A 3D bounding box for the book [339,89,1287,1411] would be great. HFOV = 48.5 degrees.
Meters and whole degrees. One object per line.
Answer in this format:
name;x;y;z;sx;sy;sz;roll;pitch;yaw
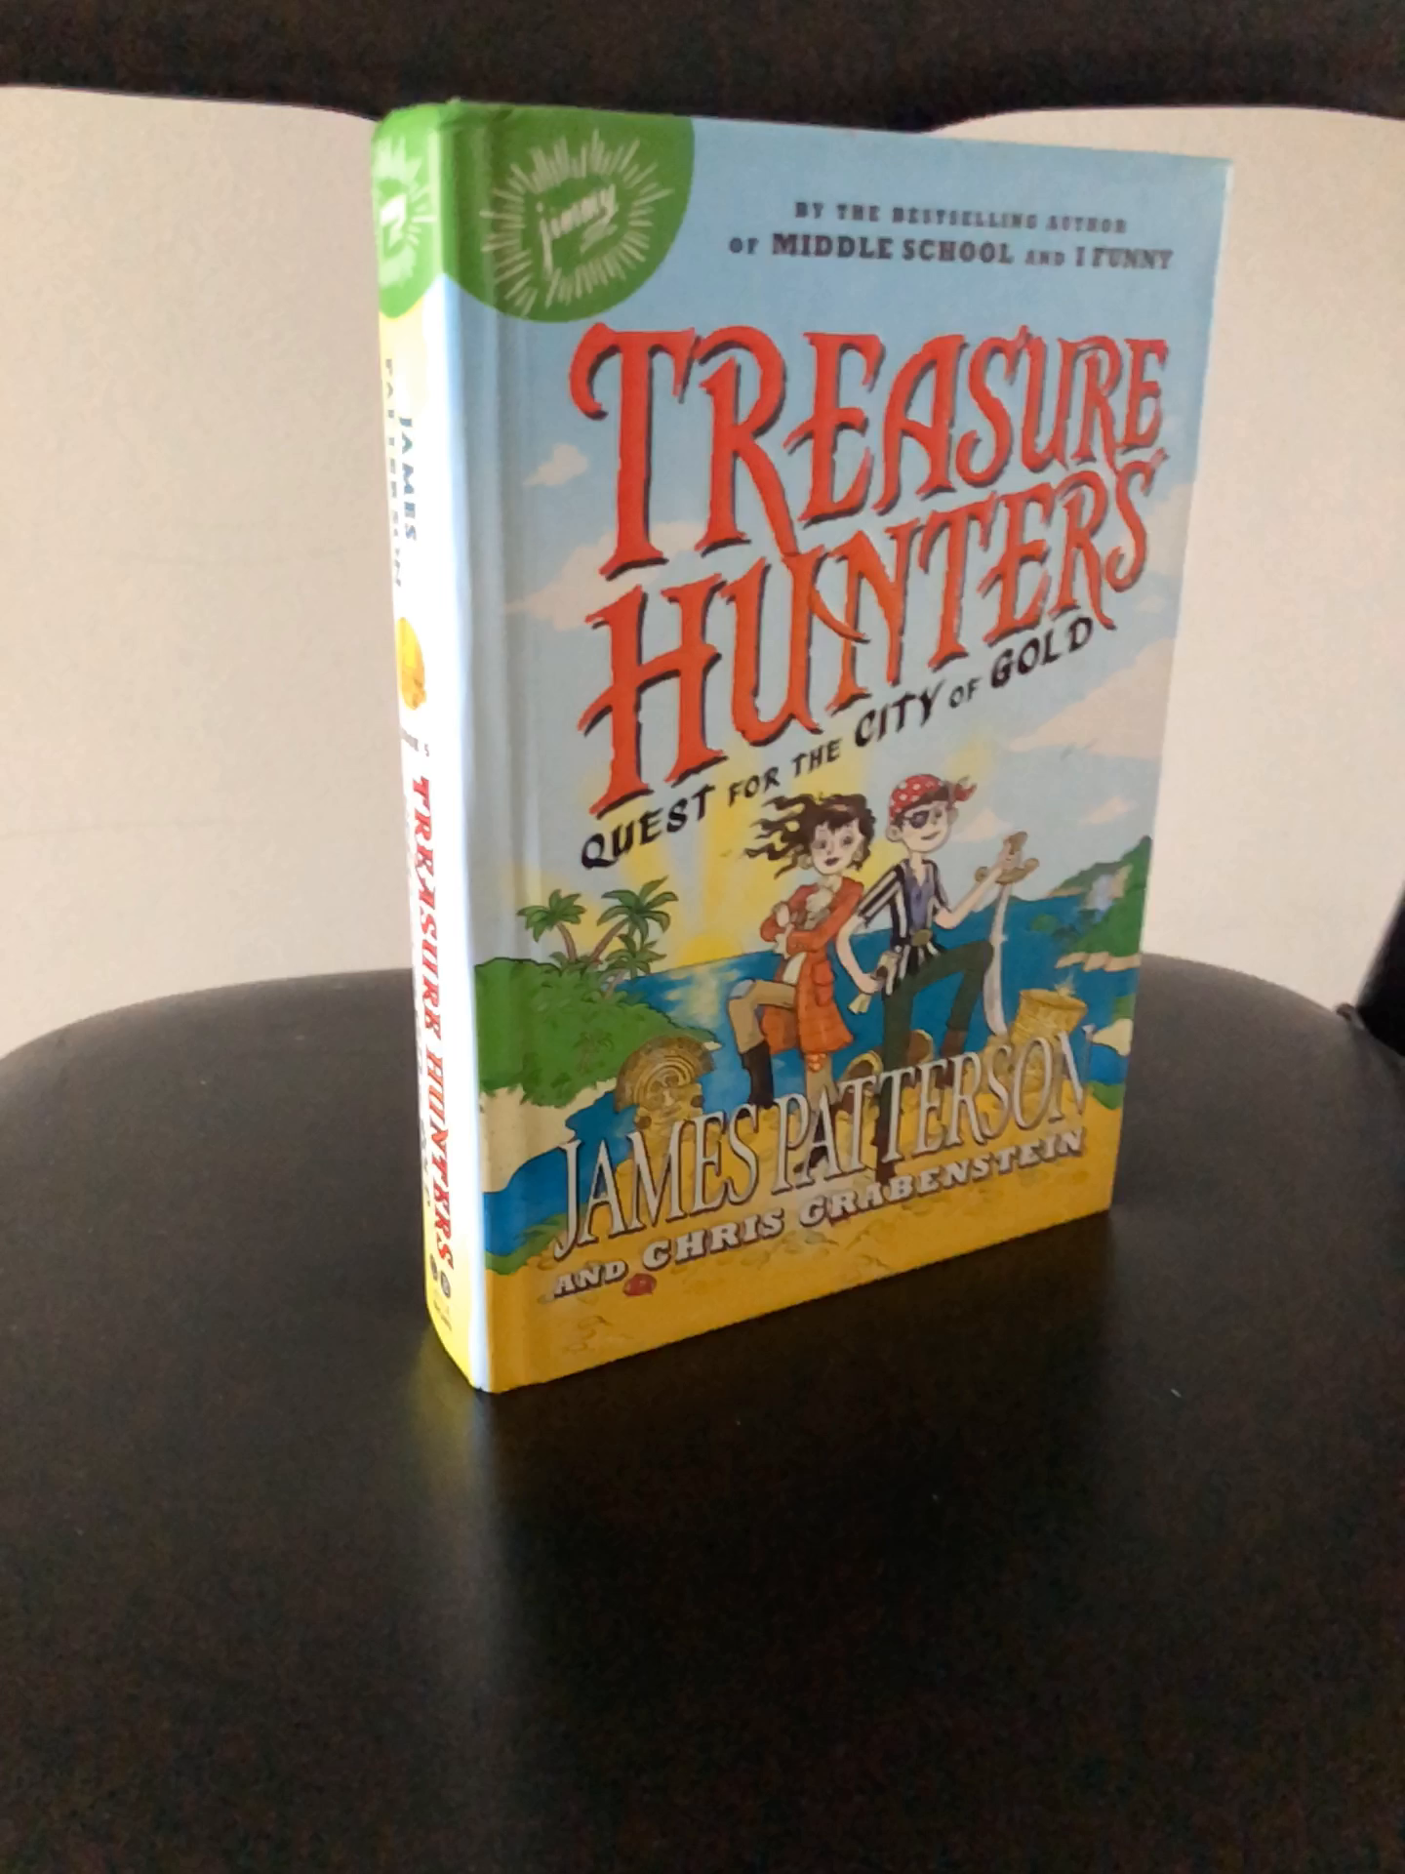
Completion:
book;0.021;-0.032;0.295;0.155;0.215;0.040;-10;26;-25
